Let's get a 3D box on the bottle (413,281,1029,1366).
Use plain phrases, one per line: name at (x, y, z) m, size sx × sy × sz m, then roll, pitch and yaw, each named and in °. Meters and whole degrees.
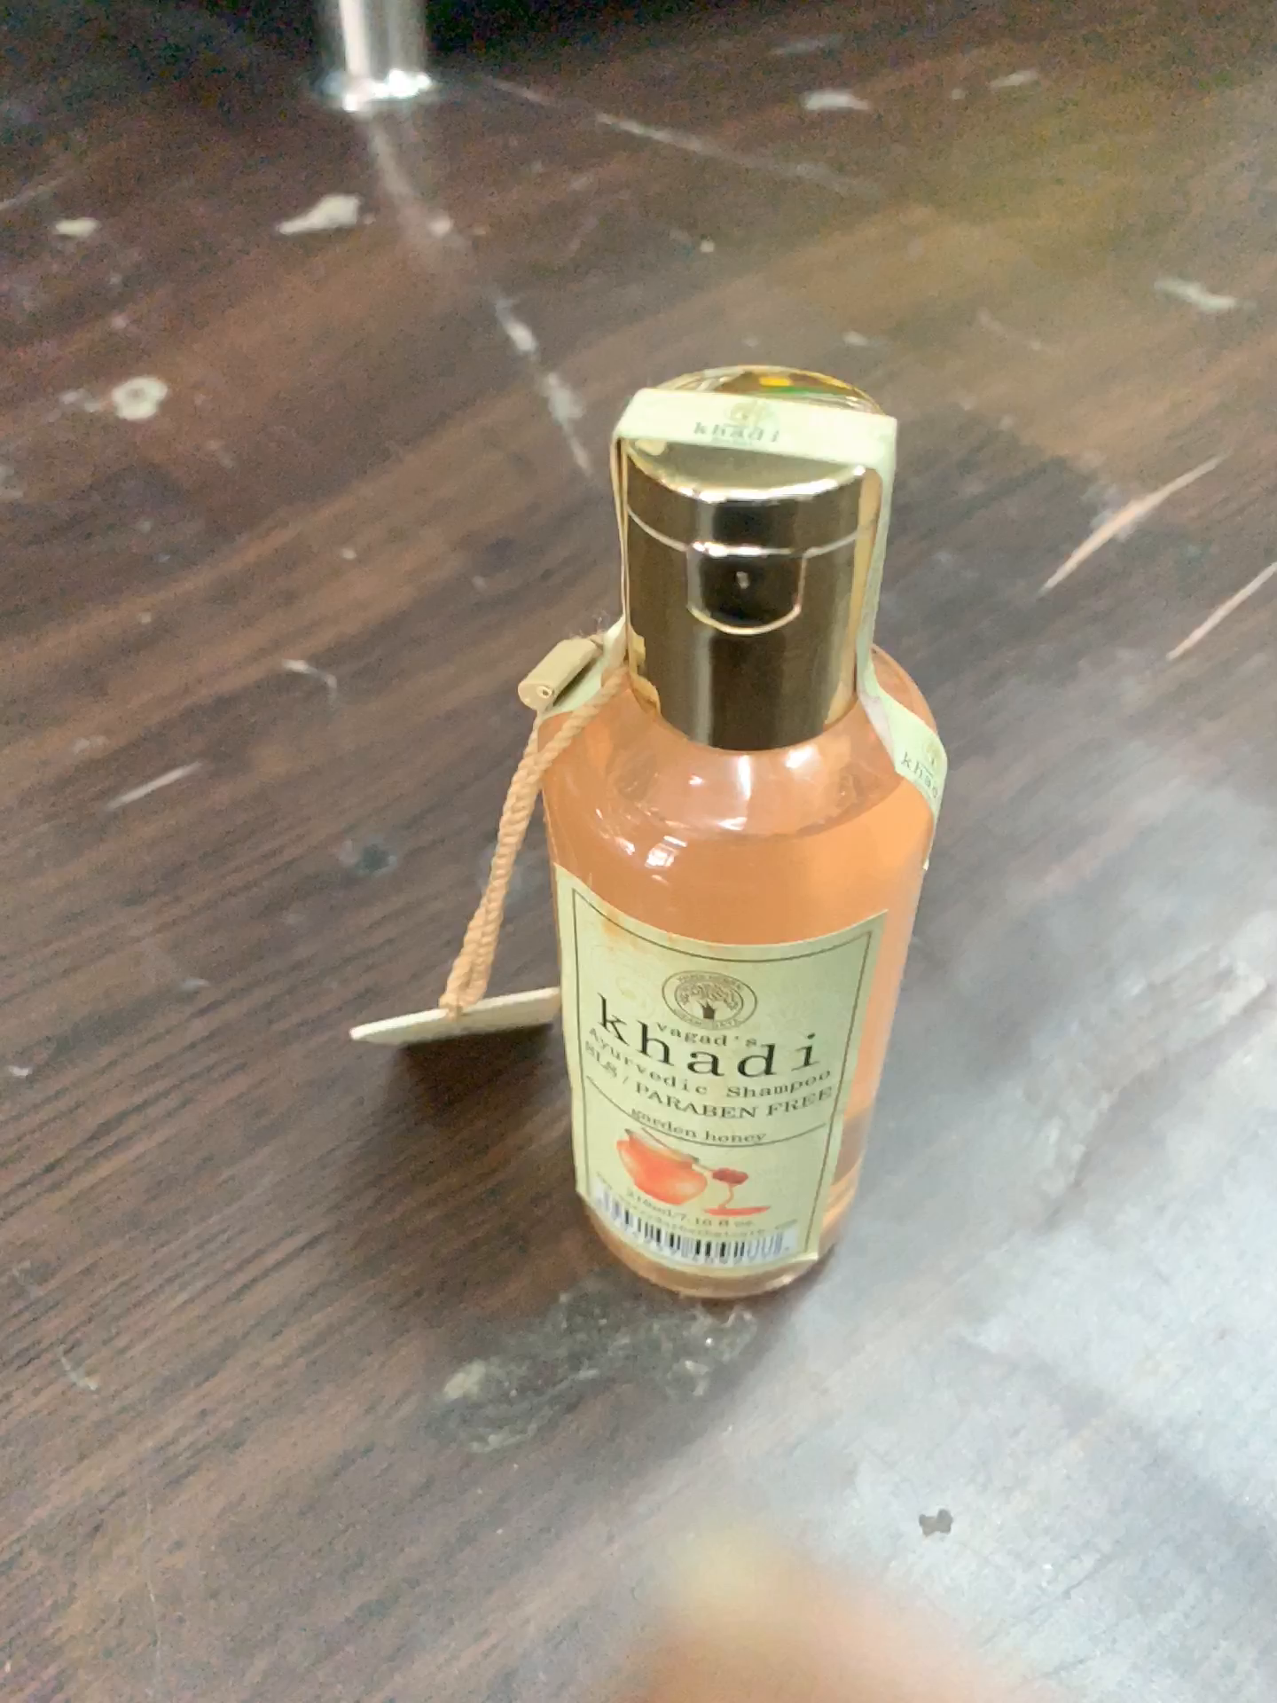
bottle at (0.011, 0.010, 0.181) m, size 0.050 × 0.149 × 0.050 m, roll 0°, pitch 47°, yaw 0°
